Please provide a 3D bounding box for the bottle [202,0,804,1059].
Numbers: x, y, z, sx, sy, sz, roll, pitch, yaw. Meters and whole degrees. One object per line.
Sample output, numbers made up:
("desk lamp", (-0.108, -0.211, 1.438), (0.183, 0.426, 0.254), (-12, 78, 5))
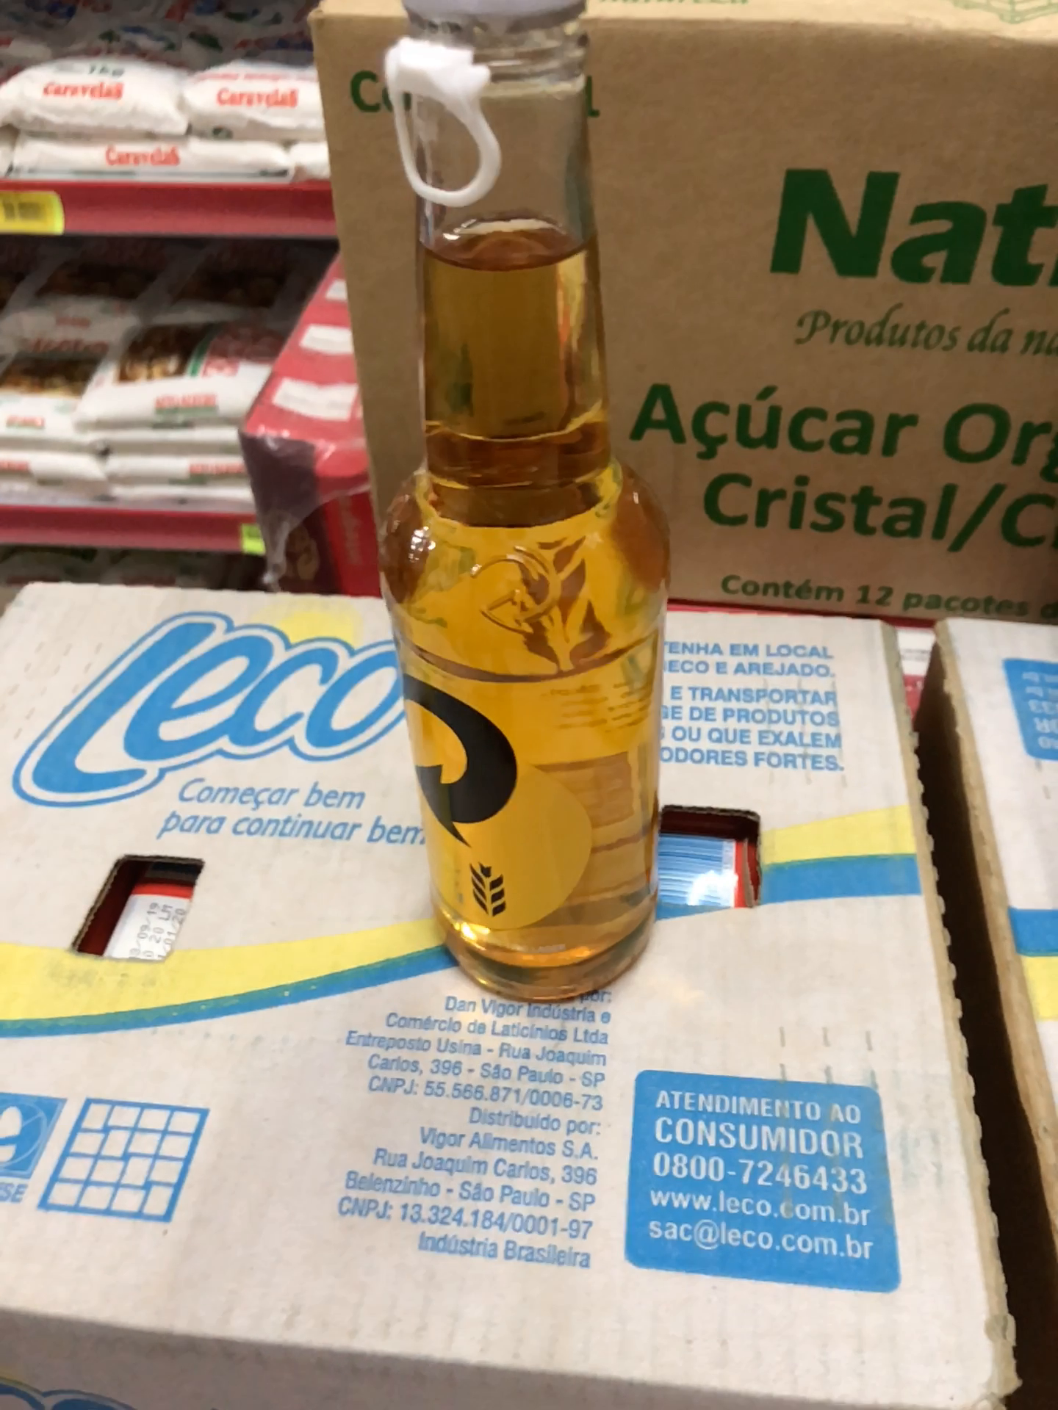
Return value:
("bottle", (0.000, -0.025, 0.232), (0.060, 0.208, 0.060), (-1, 41, 1))
